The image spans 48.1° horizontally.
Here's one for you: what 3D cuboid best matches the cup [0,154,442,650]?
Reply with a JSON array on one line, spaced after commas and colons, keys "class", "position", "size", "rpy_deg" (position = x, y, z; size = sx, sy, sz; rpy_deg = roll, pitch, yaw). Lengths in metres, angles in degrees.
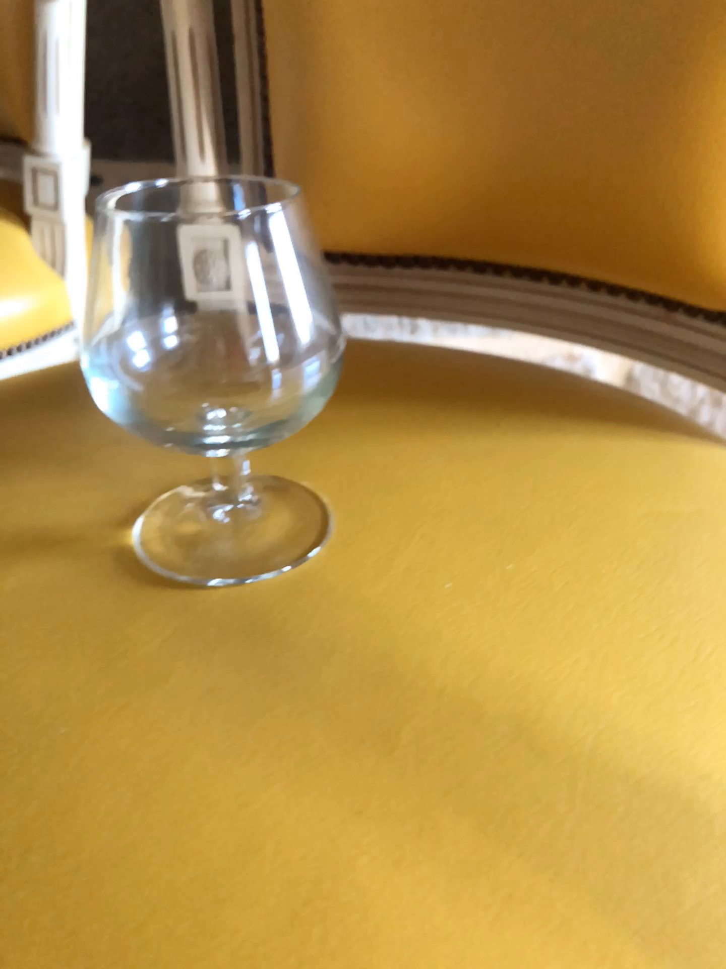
[{"class": "cup", "position": [-0.035, -0.028, 0.205], "size": [0.080, 0.089, 0.070], "rpy_deg": [-23, 36, -35]}]
